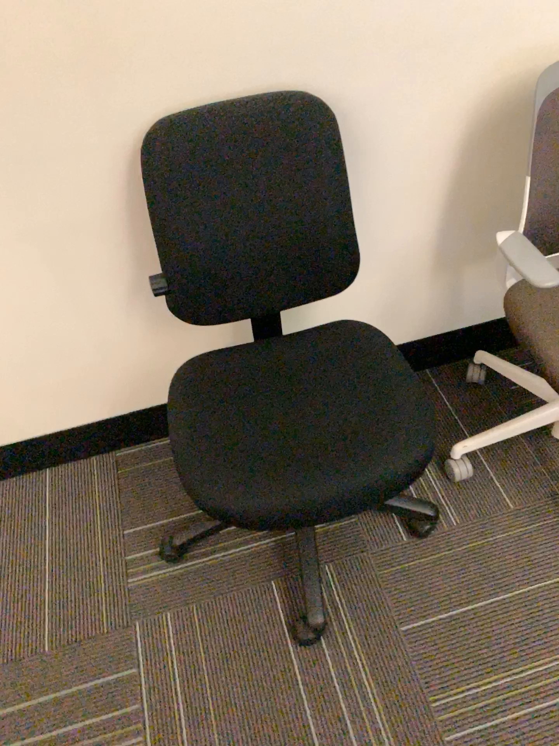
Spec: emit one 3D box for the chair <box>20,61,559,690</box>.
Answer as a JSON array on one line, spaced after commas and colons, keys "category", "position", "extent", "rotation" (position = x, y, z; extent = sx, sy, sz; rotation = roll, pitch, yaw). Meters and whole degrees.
[{"category": "chair", "position": [-0.003, 0.045, 1.242], "extent": [0.680, 0.994, 0.744], "rotation": [-15, 48, -8]}]
